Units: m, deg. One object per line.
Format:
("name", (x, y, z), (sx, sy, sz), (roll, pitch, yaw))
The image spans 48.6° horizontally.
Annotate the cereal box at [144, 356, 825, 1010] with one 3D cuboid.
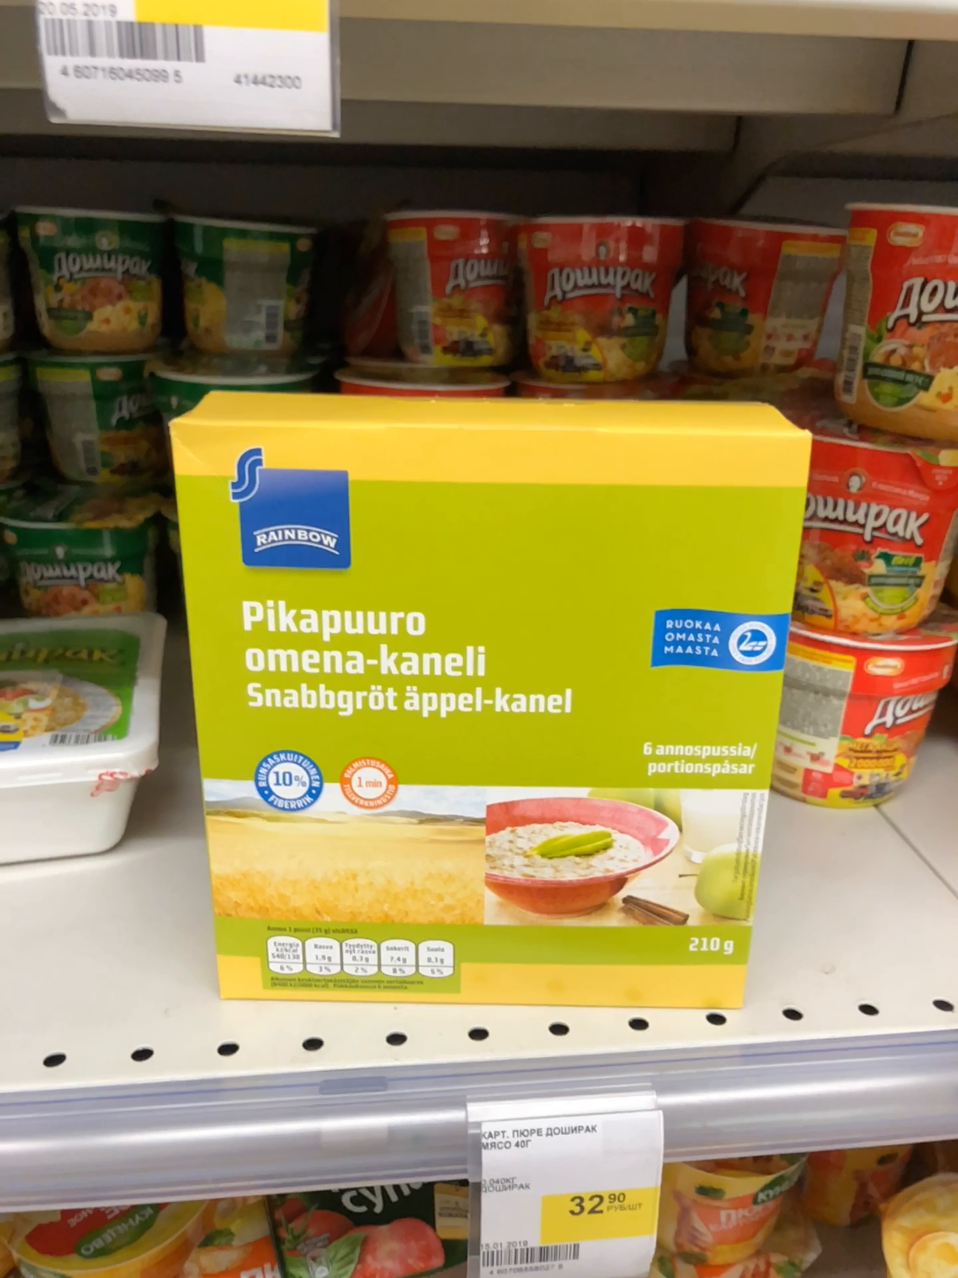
("cereal box", (0.000, 0.016, 0.321), (0.170, 0.189, 0.050), (1, 20, 0))
